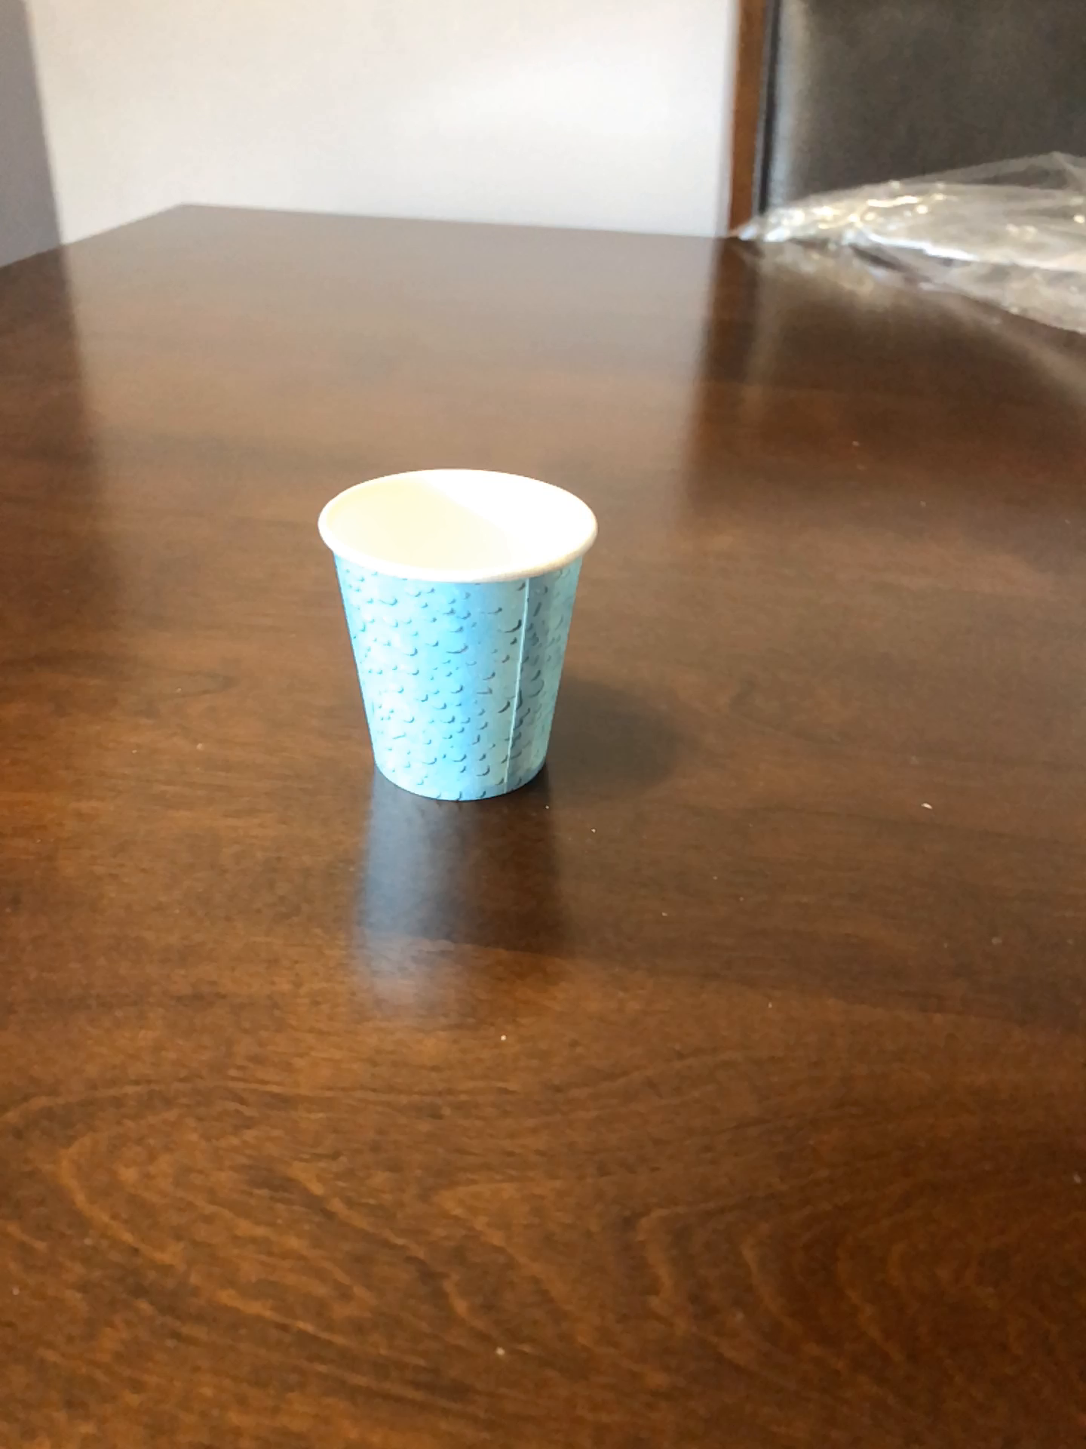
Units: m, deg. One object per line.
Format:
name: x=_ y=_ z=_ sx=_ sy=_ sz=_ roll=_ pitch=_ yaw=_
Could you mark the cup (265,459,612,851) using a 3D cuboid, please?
cup: x=-0.019 y=-0.018 z=0.267 sx=0.060 sy=0.060 sz=0.060 roll=1 pitch=31 yaw=-1
